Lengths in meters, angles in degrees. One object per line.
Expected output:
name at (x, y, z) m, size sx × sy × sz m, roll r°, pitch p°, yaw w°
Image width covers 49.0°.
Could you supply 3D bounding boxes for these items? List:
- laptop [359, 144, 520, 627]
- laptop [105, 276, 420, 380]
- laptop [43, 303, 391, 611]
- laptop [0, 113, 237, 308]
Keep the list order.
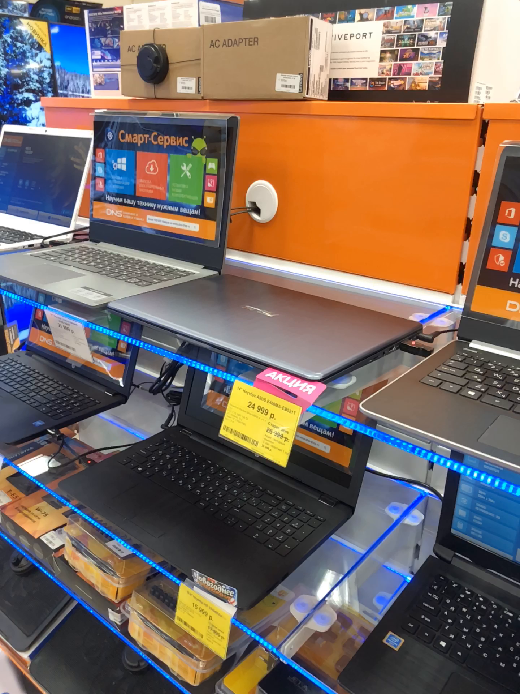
laptop at (0.300, -0.037, 0.447) m, size 0.336 × 0.205 × 0.272 m, roll 18°, pitch 27°, yaw 35°
laptop at (-0.004, -0.040, 0.699) m, size 0.324 × 0.001 × 0.214 m, roll 19°, pitch 27°, yaw 37°
laptop at (-0.063, 0.113, 0.844) m, size 0.377 × 0.227 × 0.313 m, roll 18°, pitch 26°, yaw 37°
laptop at (-0.259, -0.237, 0.884) m, size 0.353 × 0.225 × 0.289 m, roll 17°, pitch 26°, yaw 35°
